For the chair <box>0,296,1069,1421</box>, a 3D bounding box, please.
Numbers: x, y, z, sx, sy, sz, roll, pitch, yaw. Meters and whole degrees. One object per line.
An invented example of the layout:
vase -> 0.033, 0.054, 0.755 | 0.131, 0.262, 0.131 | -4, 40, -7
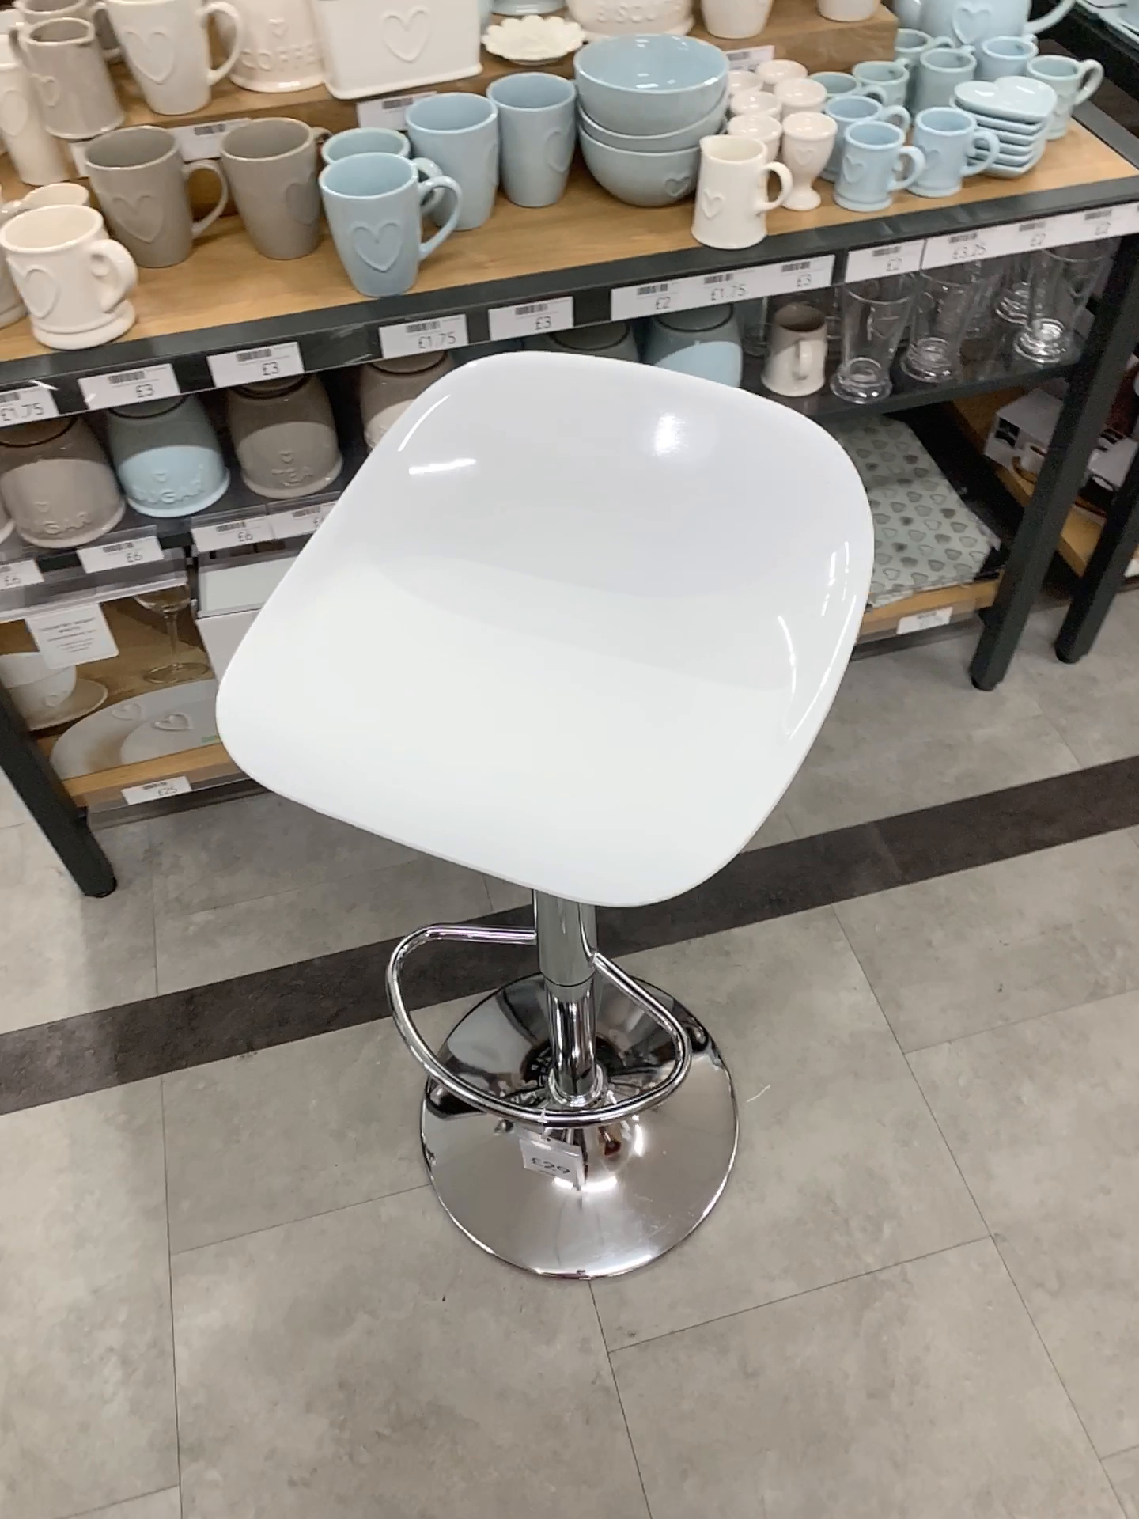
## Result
chair -> 0.014, 0.133, 0.982 | 0.503, 0.777, 0.472 | 16, 53, 15
